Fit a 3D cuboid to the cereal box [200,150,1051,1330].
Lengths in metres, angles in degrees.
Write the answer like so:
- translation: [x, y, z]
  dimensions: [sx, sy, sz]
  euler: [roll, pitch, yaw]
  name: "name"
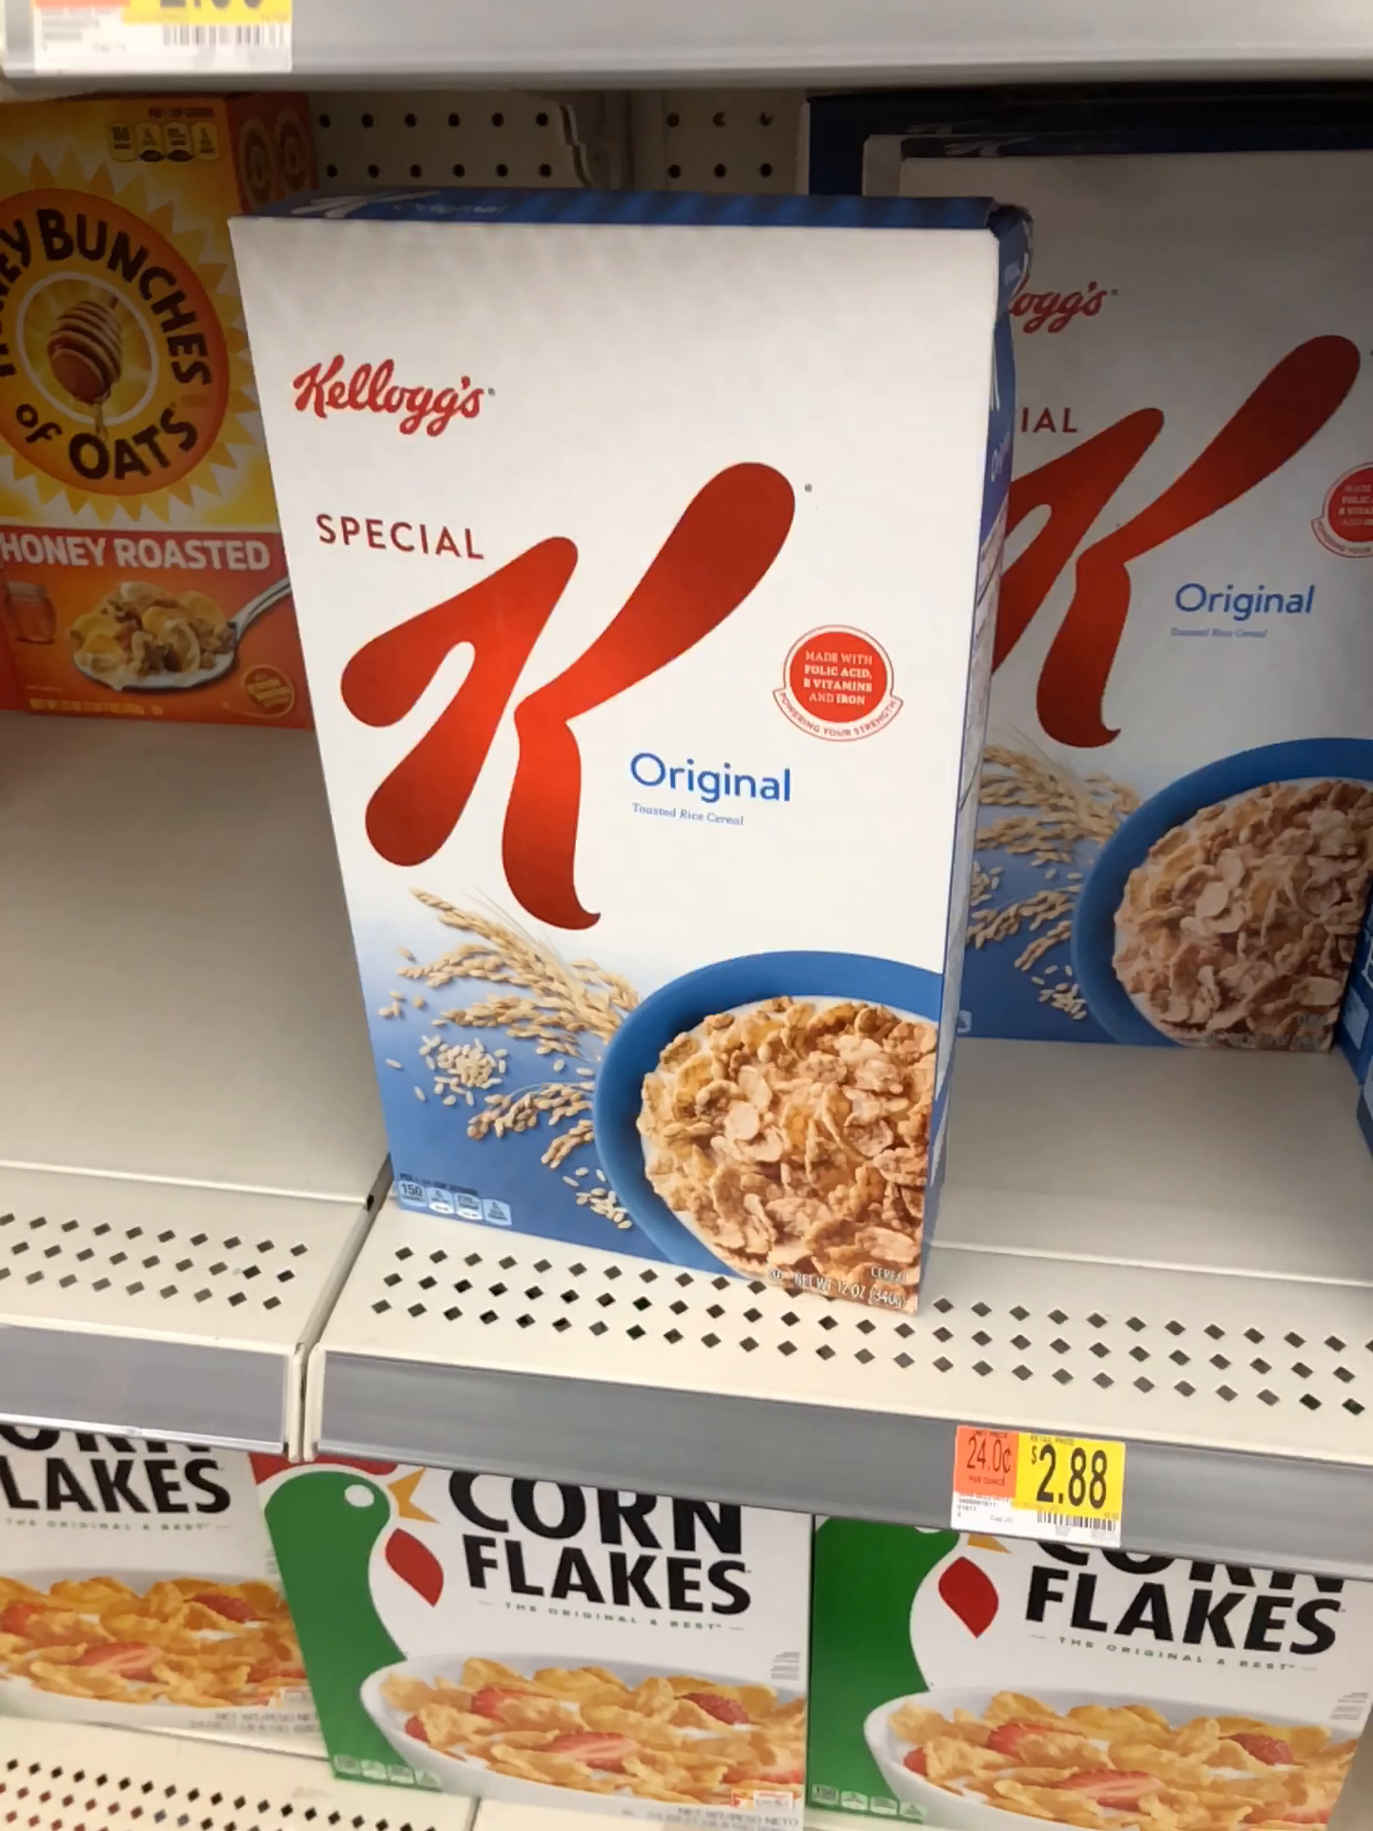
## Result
- translation: [-0.009, -0.041, 0.455]
  dimensions: [0.190, 0.329, 0.080]
  euler: [8, 34, 15]
  name: "cereal box"
